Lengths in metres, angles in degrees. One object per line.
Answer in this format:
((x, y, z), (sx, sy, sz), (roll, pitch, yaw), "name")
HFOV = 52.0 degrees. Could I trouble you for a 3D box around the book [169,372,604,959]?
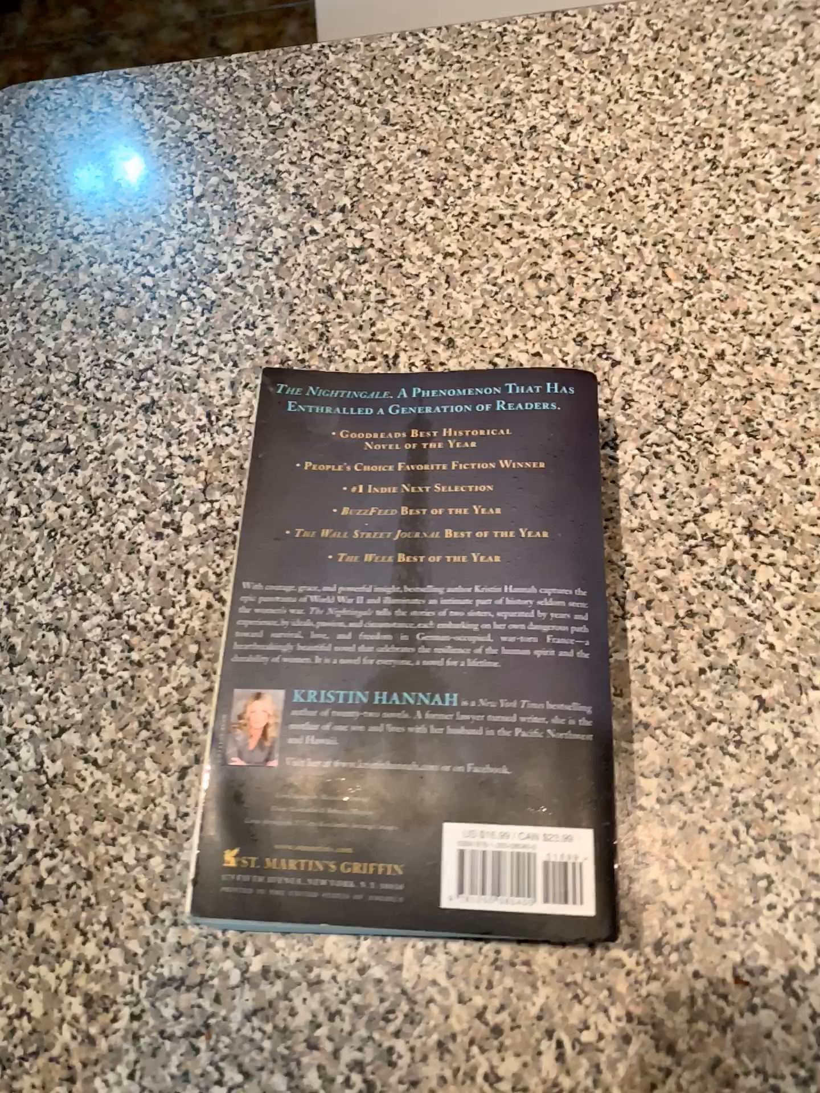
((0.001, 0.037, 0.327), (0.139, 0.056, 0.207), (0, 68, 9), "book")
